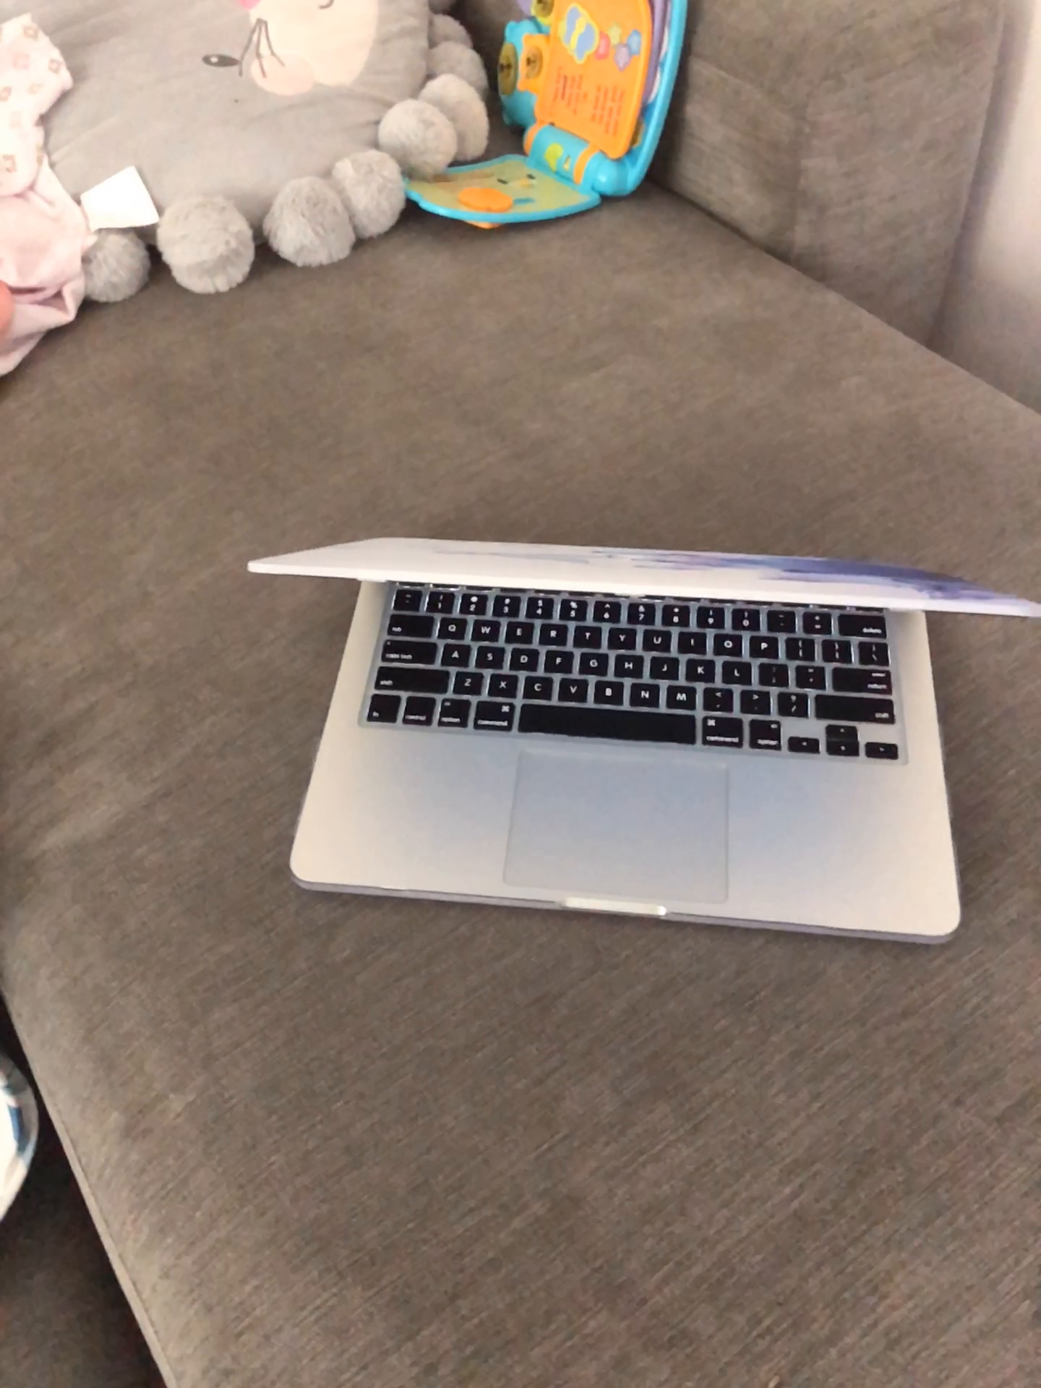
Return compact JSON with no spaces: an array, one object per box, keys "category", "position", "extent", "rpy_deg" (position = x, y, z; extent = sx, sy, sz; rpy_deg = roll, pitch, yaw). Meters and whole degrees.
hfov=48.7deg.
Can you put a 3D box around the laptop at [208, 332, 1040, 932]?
[{"category":"laptop","position":[0.051,-0.035,0.537],"extent":[0.308,0.137,0.218],"rpy_deg":[4,54,5]}]
